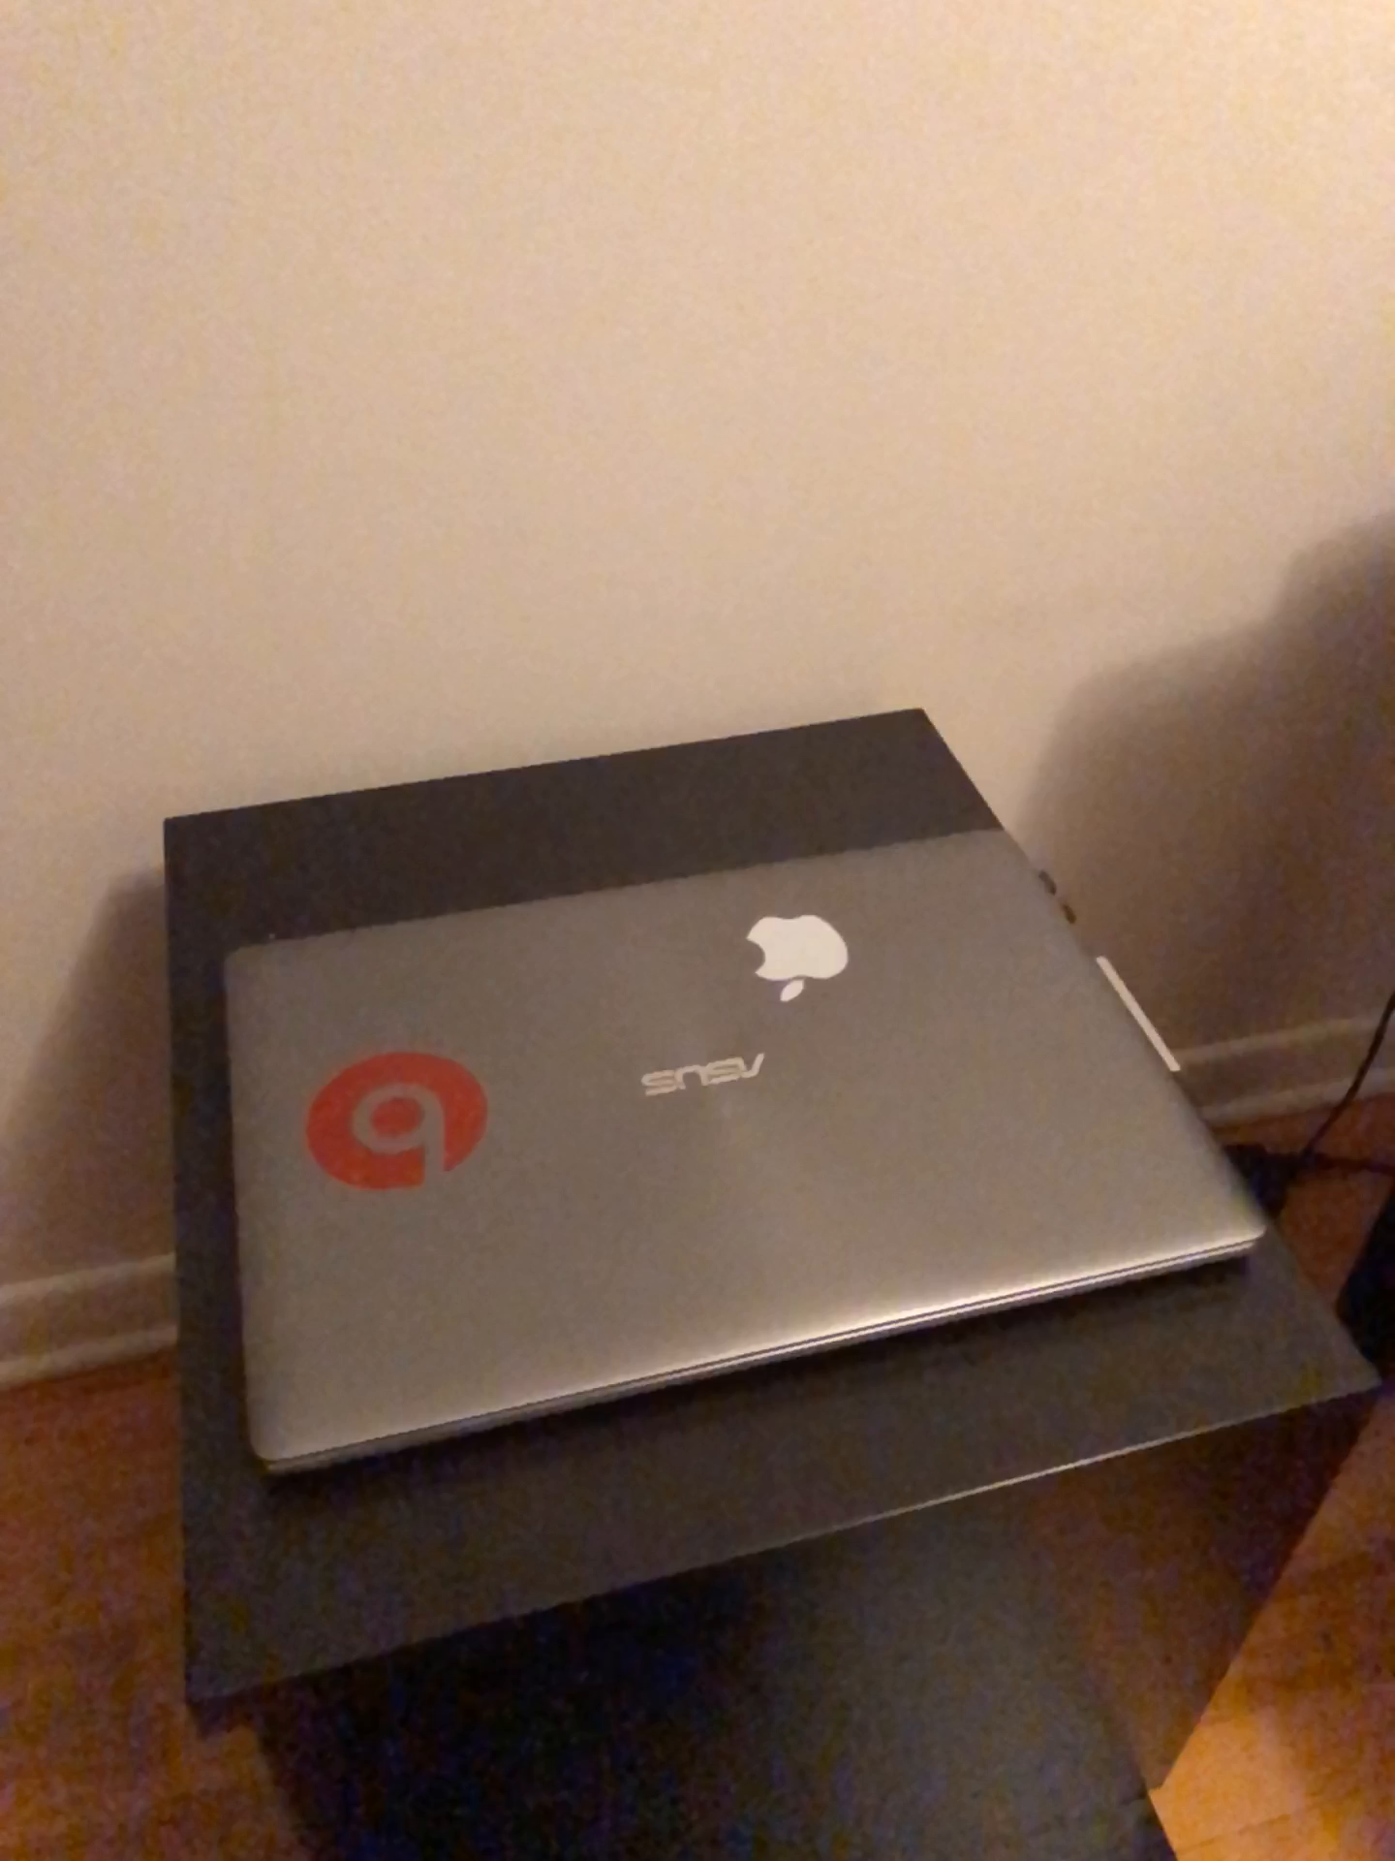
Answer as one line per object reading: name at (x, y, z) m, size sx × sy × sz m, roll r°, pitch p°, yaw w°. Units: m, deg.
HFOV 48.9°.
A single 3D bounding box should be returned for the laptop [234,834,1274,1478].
laptop at (0.005, 0.068, 0.638) m, size 0.373 × 0.010 × 0.250 m, roll -10°, pitch 44°, yaw -11°
